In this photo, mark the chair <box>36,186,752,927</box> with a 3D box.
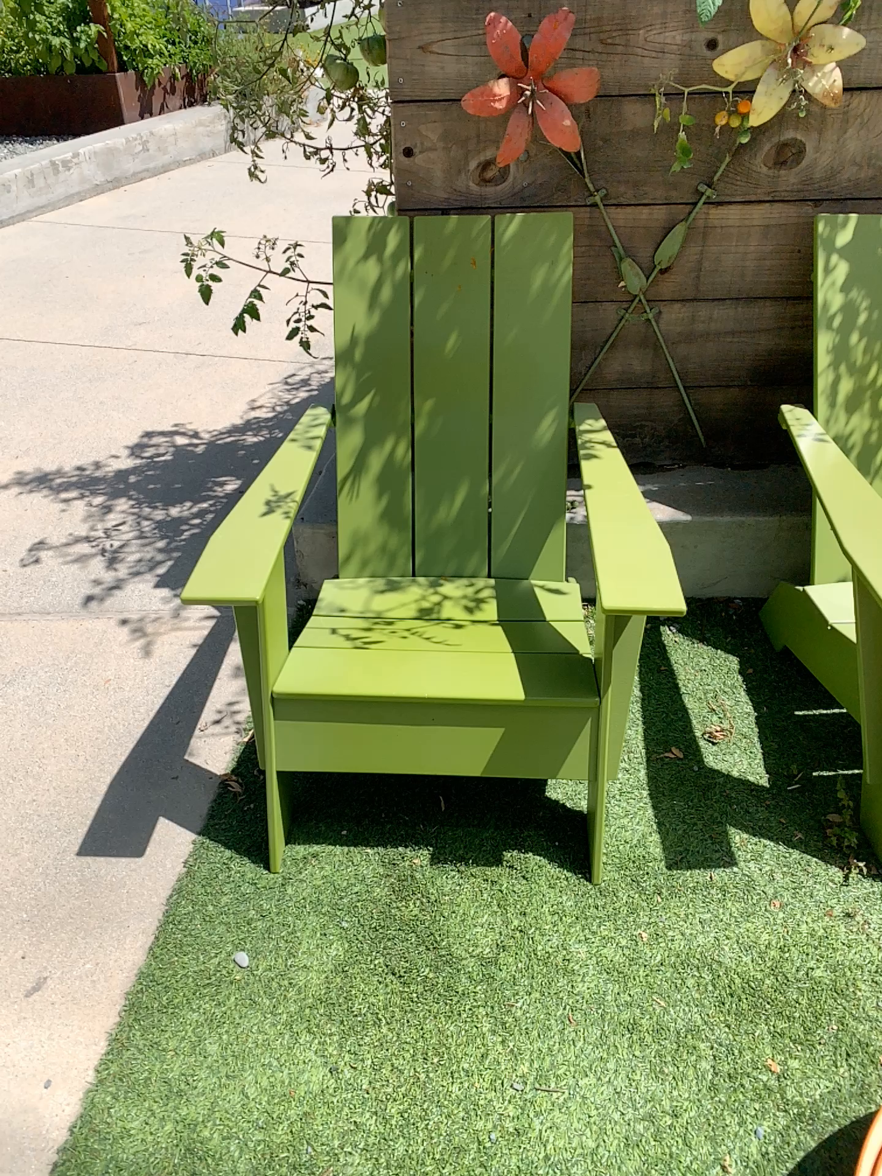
[{"bbox_3d":[-0.017,-0.125,1.452,0.680,0.835,0.905,1,32,4],"label":"chair"}]

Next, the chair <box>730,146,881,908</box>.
[{"bbox_3d":[0.970,-0.161,1.557,0.680,0.986,0.894,-2,22,6],"label":"chair"}]
